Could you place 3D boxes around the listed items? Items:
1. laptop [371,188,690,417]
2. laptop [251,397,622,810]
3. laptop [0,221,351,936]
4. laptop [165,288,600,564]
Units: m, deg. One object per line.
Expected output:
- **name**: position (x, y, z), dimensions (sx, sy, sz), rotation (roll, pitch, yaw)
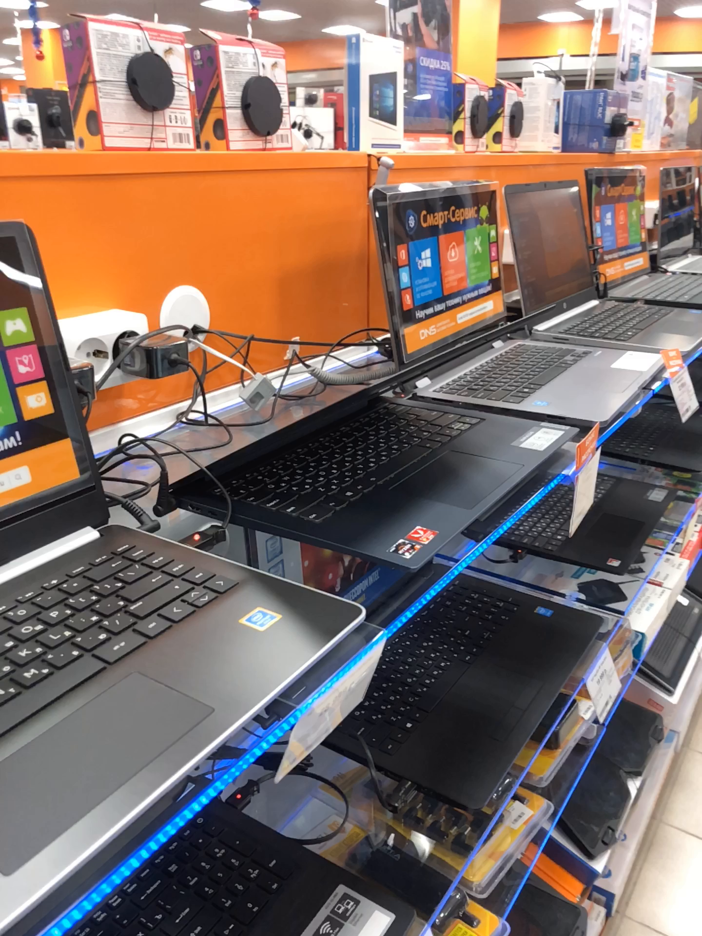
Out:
- **laptop**: position (0.218, -0.216, 0.902), dimensions (0.257, 0.203, 0.331), rotation (11, 24, 27)
- **laptop**: position (0.107, 0.106, 0.850), dimensions (0.258, 0.227, 0.355), rotation (16, 28, 31)
- **laptop**: position (-0.183, 0.009, 0.340), dimensions (0.250, 0.200, 0.303), rotation (14, 25, 31)
- **laptop**: position (0.042, -0.060, 0.622), dimensions (0.203, 0.108, 0.303), rotation (14, 27, 32)
